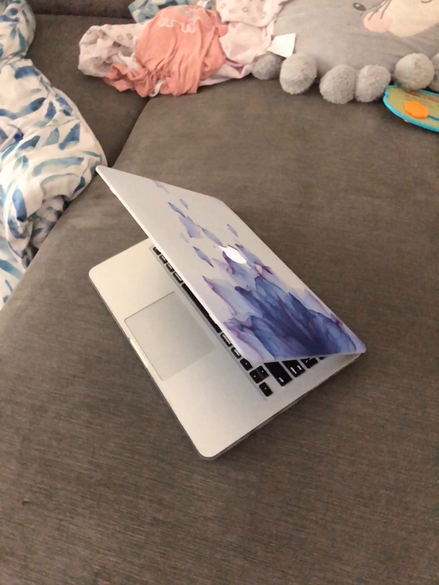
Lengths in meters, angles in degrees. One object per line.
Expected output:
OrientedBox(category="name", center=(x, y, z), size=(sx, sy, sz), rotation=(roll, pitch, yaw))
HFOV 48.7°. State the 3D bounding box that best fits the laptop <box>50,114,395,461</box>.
OrientedBox(category="laptop", center=(-0.011, -0.024, 0.548), size=(0.217, 0.137, 0.309), rotation=(-30, 57, -15))
